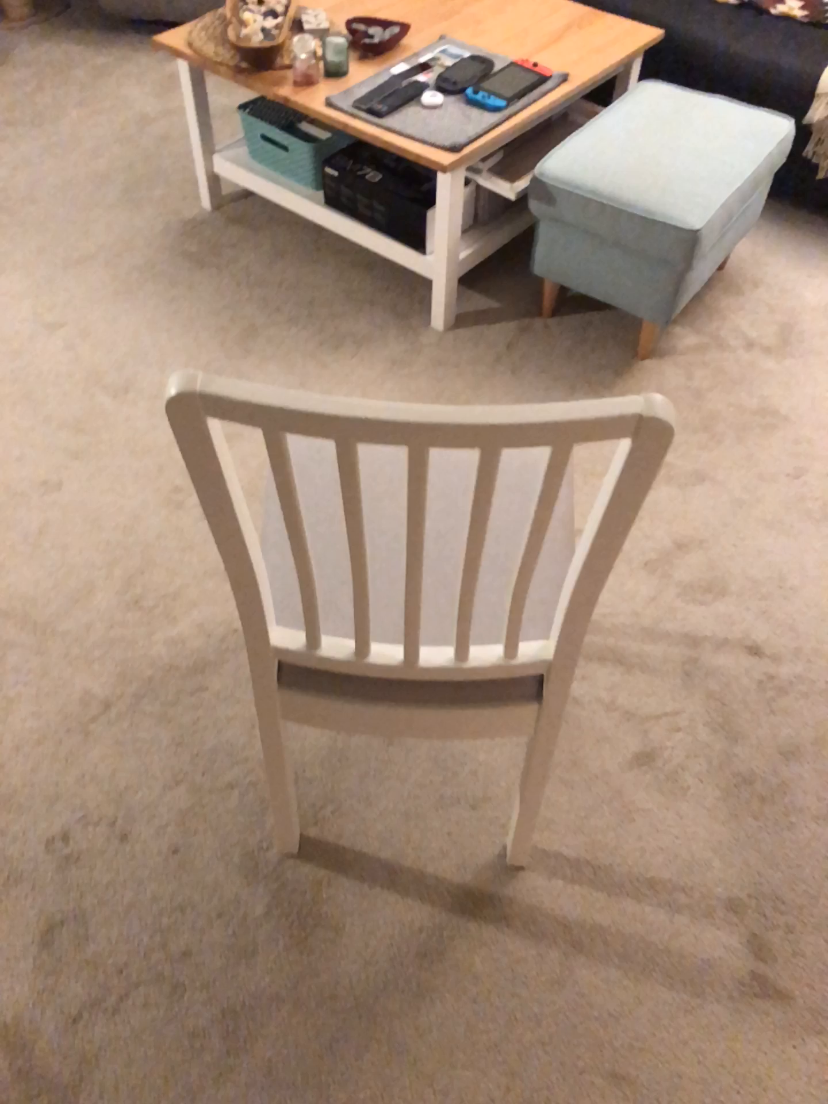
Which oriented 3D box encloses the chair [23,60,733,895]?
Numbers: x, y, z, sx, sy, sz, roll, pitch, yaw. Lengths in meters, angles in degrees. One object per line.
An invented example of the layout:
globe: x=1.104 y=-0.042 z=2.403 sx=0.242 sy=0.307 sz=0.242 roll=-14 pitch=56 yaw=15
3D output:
chair: x=-0.015 y=-0.022 z=1.159 sx=0.500 sy=0.905 sz=0.553 roll=5 pitch=50 yaw=2
